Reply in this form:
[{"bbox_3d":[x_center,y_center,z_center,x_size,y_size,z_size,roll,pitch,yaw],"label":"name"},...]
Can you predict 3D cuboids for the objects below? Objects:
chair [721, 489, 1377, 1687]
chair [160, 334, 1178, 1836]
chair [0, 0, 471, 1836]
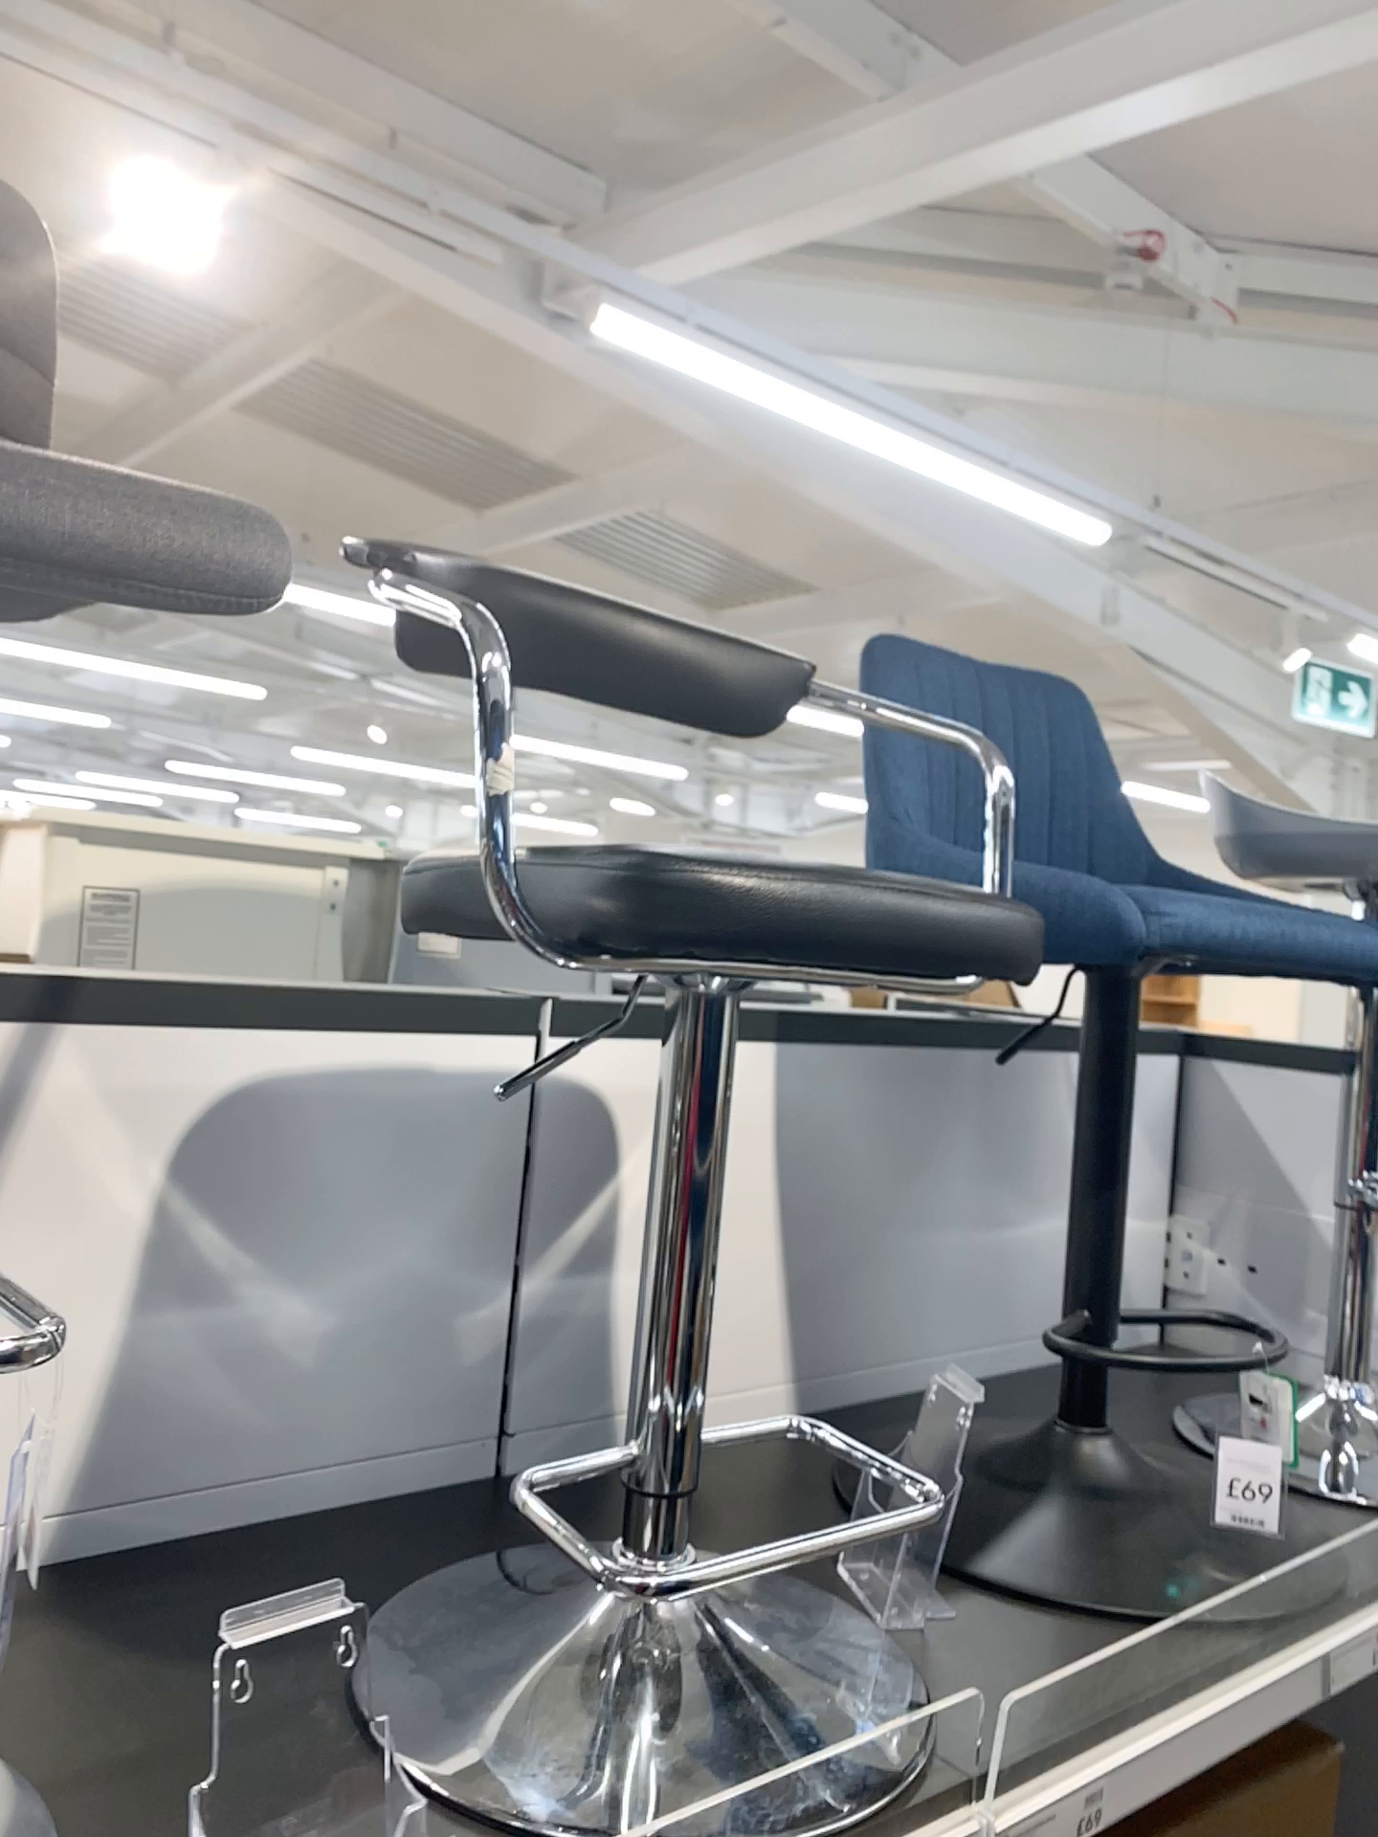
[{"bbox_3d":[0.448,0.136,1.502,0.521,0.954,0.536,7,-3,-39],"label":"chair"},{"bbox_3d":[-0.007,0.128,1.069,0.511,0.854,0.466,7,-3,-43],"label":"chair"},{"bbox_3d":[-0.509,-0.020,0.726,0.511,1.064,0.466,7,-3,-43],"label":"chair"}]
